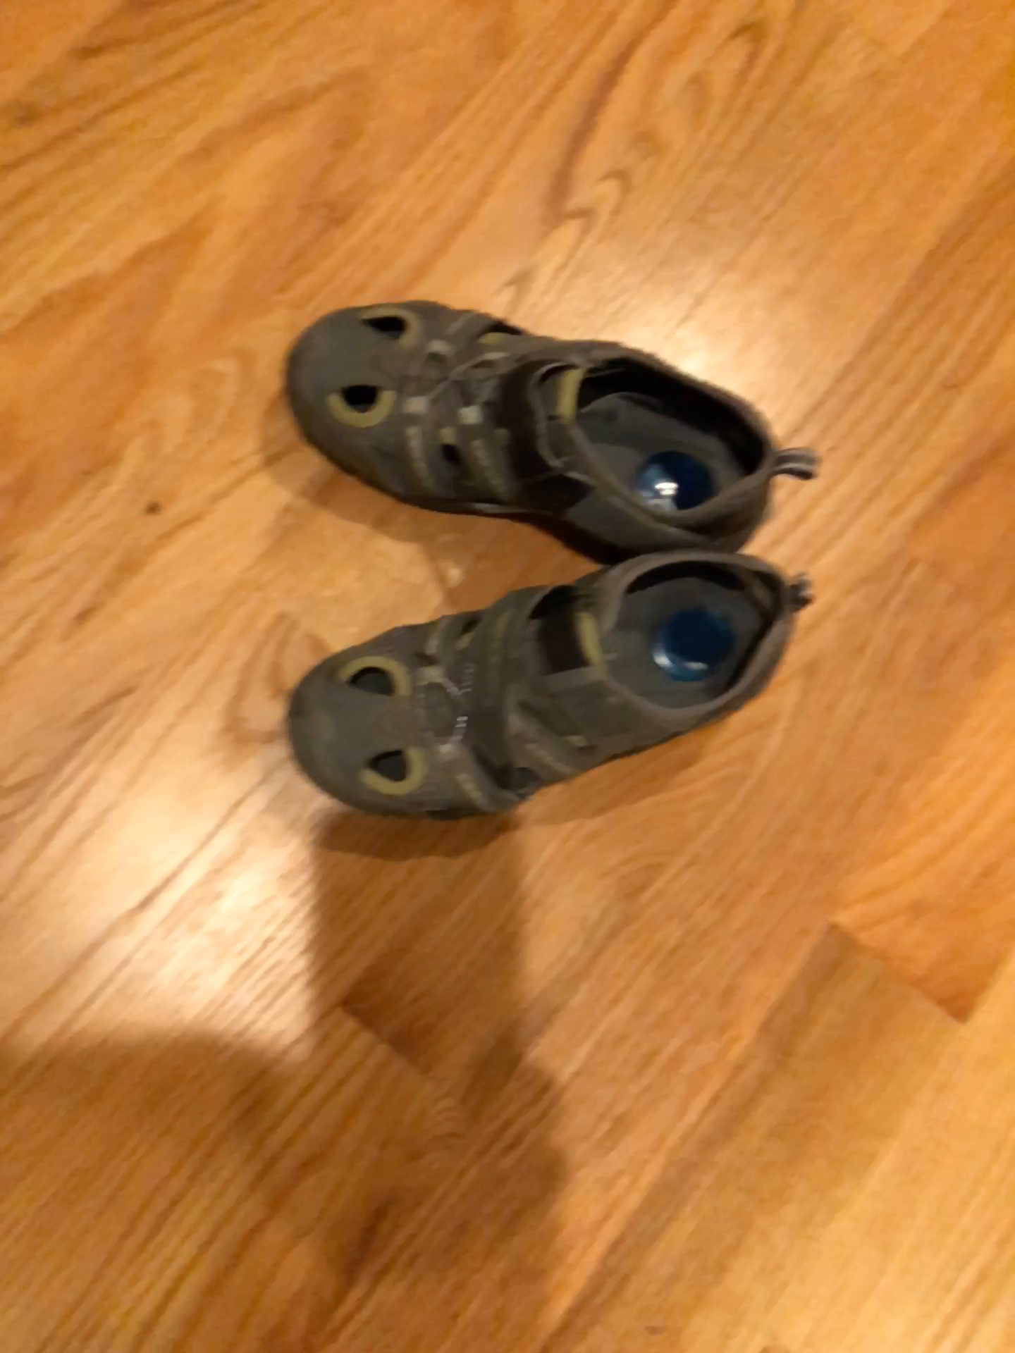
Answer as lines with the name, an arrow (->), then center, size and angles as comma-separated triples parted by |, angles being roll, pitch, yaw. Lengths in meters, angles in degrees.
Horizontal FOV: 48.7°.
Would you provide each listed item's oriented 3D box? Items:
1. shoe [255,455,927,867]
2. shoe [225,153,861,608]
shoe -> 0.029, -0.002, 0.486 | 0.245, 0.113, 0.100 | -15, 82, -11
shoe -> 0.013, -0.123, 0.509 | 0.245, 0.113, 0.100 | 15, 78, -5
